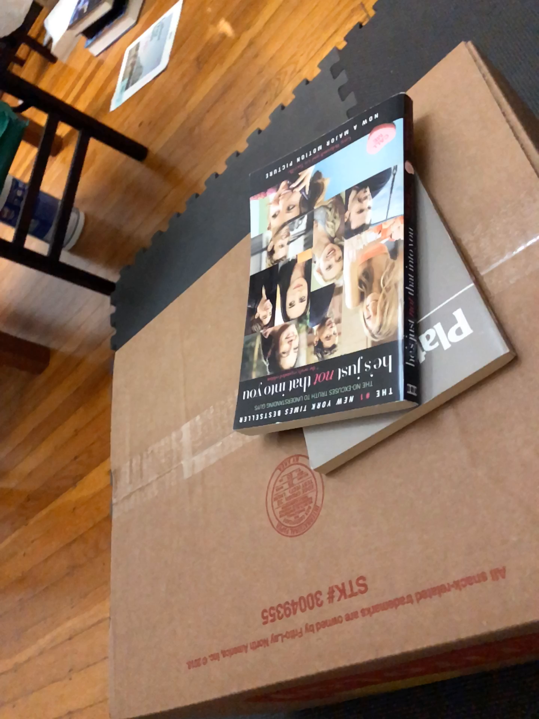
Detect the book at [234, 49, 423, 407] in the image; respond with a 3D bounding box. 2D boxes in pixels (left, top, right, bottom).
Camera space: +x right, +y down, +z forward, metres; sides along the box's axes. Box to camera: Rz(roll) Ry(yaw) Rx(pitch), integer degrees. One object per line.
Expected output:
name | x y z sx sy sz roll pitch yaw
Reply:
book | 0.039 -0.090 0.424 0.151 0.010 0.230 -17 60 44
